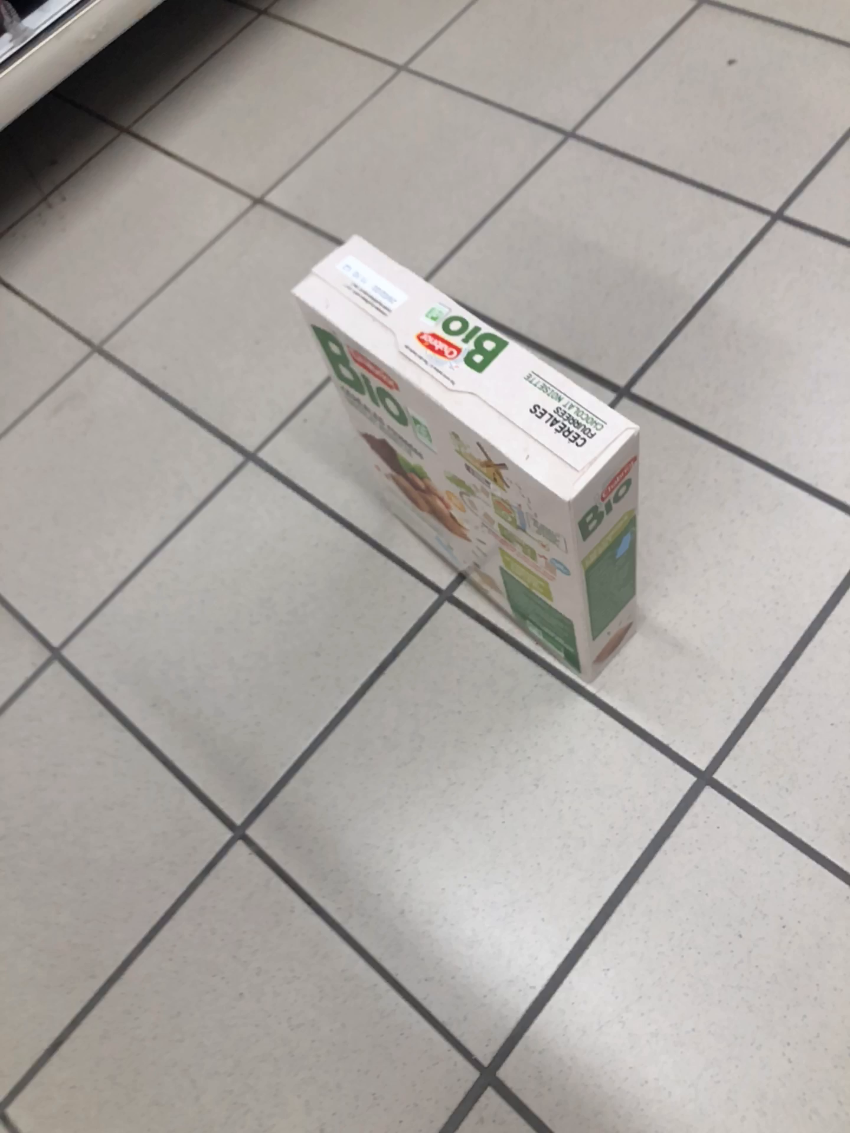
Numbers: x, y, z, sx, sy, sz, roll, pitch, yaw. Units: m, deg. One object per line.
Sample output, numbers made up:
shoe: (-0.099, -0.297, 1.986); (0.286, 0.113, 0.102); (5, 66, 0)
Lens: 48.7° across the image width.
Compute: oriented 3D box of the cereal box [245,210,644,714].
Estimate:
cereal box: (0.021, -0.047, 0.536); (0.060, 0.239, 0.210); (-42, 62, -12)
